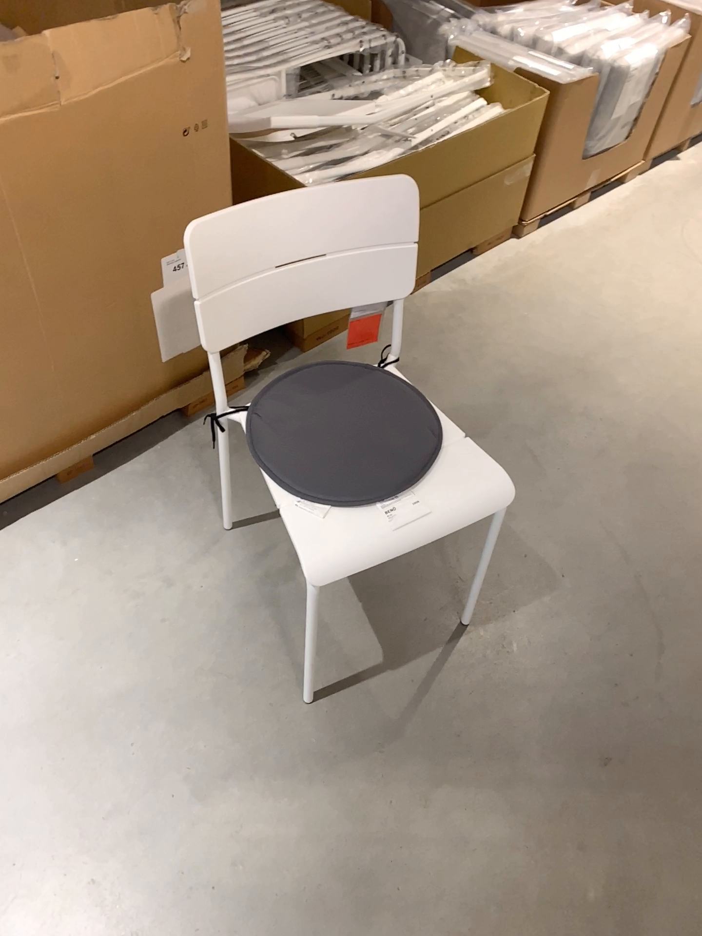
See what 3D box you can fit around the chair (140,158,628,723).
[{"bbox_3d":[0.000,-0.024,1.207,0.460,0.718,0.491,-20,54,-20],"label":"chair"}]
